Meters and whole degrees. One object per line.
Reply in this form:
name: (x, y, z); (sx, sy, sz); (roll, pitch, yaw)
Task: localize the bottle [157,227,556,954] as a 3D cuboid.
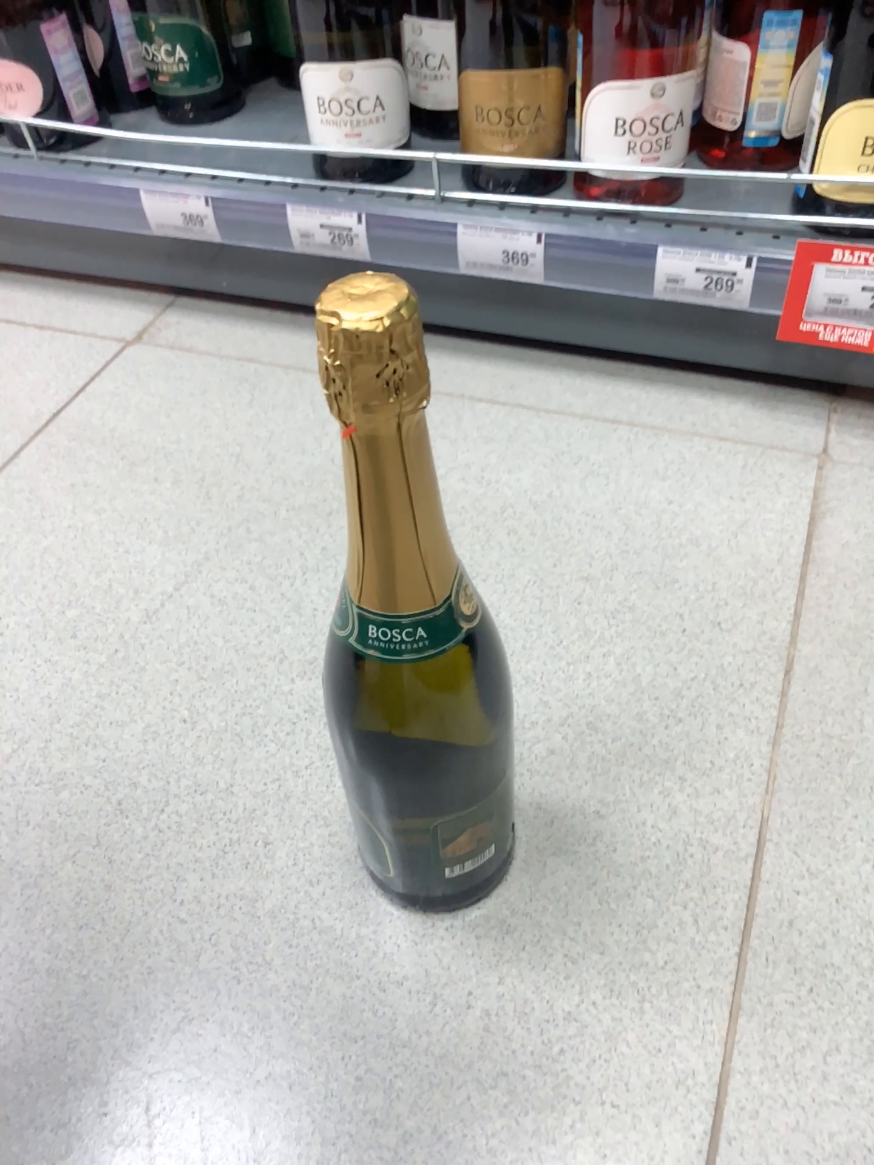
bottle: (-0.009, 0.030, 0.392); (0.090, 0.314, 0.090); (-3, 46, 3)
